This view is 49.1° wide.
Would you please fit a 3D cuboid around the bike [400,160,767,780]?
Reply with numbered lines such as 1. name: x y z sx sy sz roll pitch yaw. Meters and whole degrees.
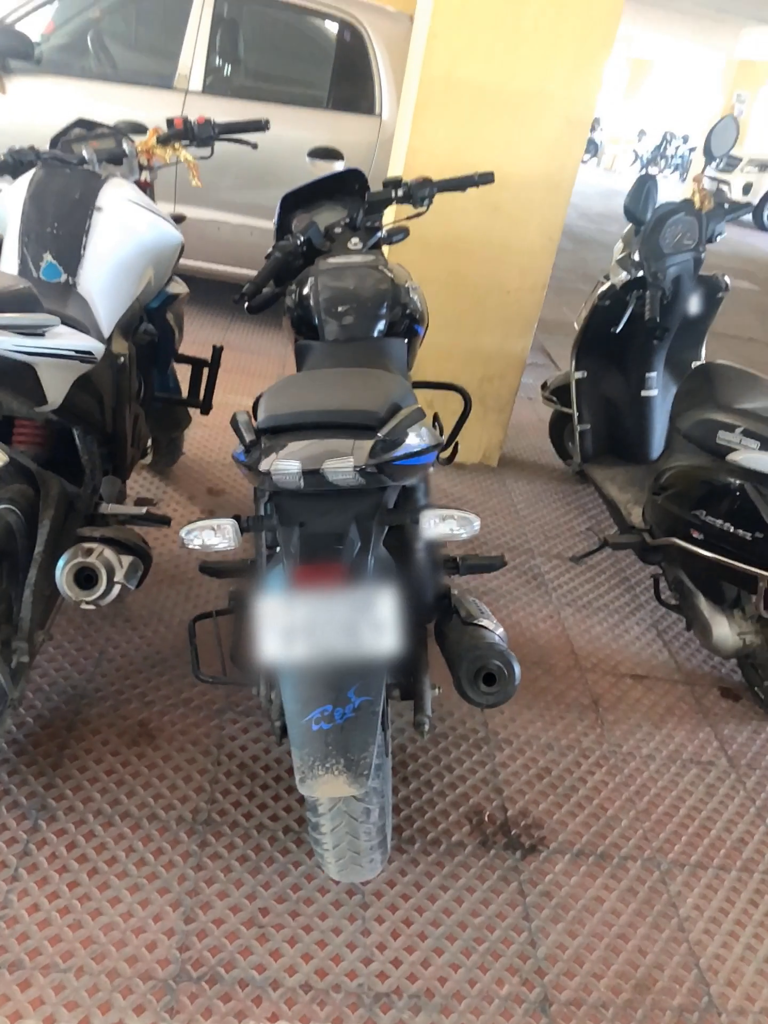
1. bike: 0.729 -0.275 2.582 0.713 1.223 1.720 3 28 -17

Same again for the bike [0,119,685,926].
1. bike: -0.244 -0.246 1.907 0.745 0.989 1.852 7 26 -10
